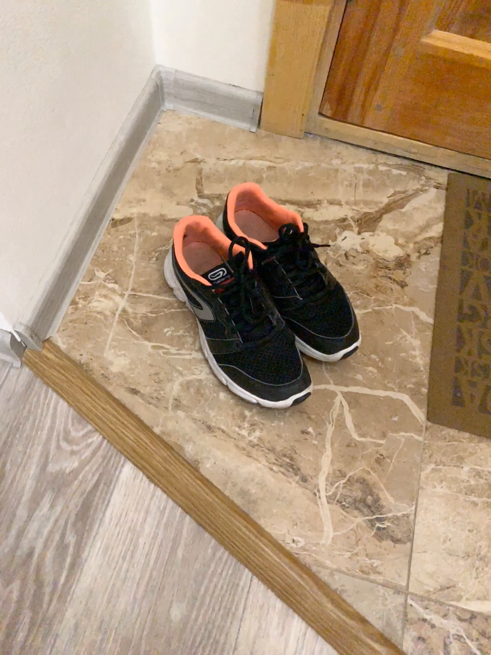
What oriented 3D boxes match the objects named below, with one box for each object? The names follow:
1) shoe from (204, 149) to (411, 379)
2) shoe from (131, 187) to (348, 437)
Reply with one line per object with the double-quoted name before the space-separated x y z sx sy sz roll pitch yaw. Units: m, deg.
"shoe" 0.059 -0.078 0.599 0.100 0.100 0.244 -31 70 -19
"shoe" -0.016 -0.021 0.566 0.100 0.100 0.250 -31 70 -19
